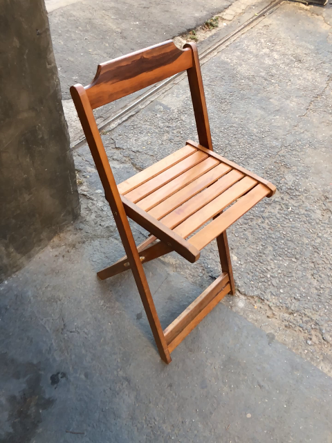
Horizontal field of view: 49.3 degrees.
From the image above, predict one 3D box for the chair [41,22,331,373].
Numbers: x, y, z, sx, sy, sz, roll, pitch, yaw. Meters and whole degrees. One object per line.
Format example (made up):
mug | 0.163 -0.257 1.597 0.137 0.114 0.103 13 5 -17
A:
chair | 0.042 -0.043 1.140 0.501 0.854 0.482 34 53 26
